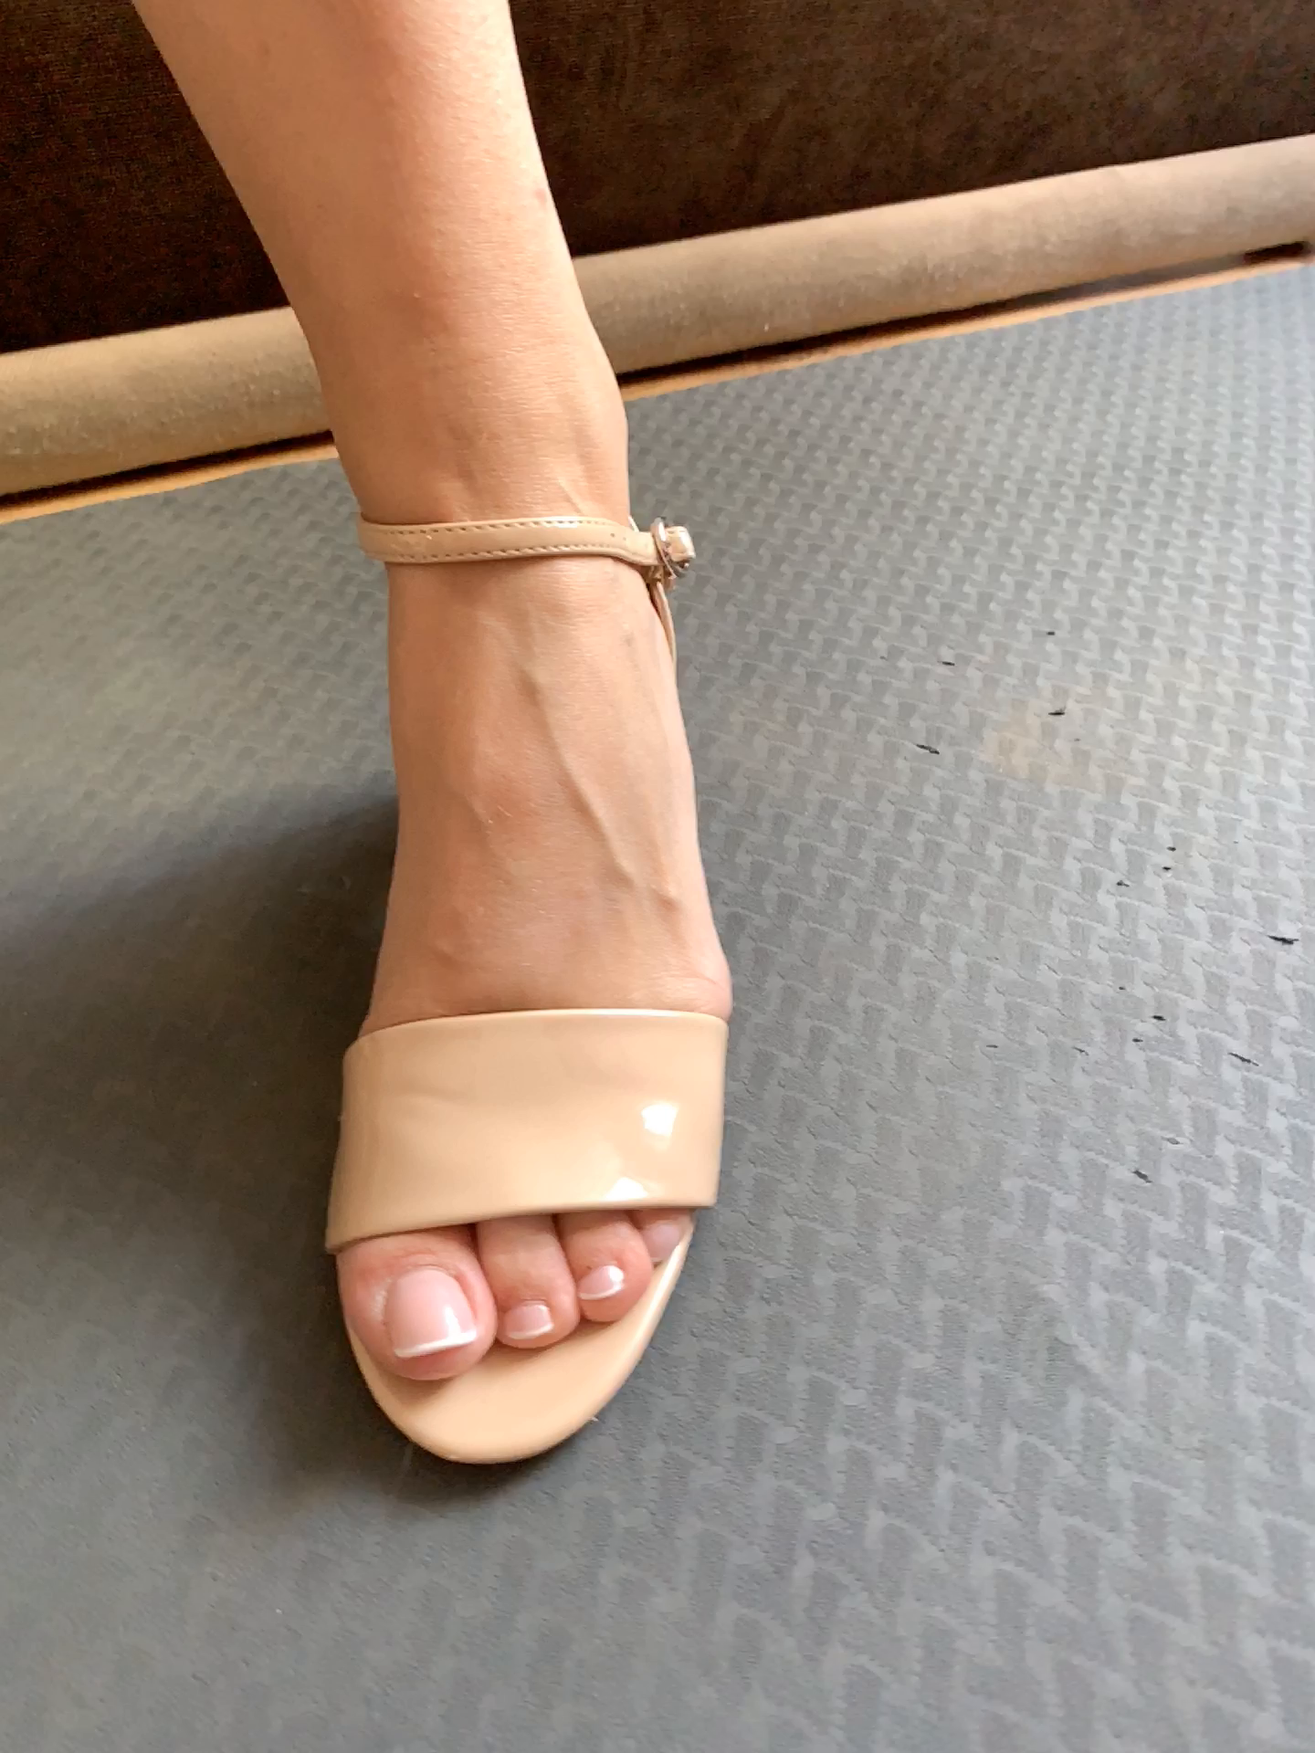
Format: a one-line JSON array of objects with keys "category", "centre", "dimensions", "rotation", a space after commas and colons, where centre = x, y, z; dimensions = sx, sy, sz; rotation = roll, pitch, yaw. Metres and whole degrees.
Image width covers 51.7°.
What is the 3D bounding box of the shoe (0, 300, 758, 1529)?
[{"category": "shoe", "centre": [-0.038, -0.018, 0.289], "dimensions": [0.090, 0.119, 0.251], "rotation": [-2, 41, -1]}]
